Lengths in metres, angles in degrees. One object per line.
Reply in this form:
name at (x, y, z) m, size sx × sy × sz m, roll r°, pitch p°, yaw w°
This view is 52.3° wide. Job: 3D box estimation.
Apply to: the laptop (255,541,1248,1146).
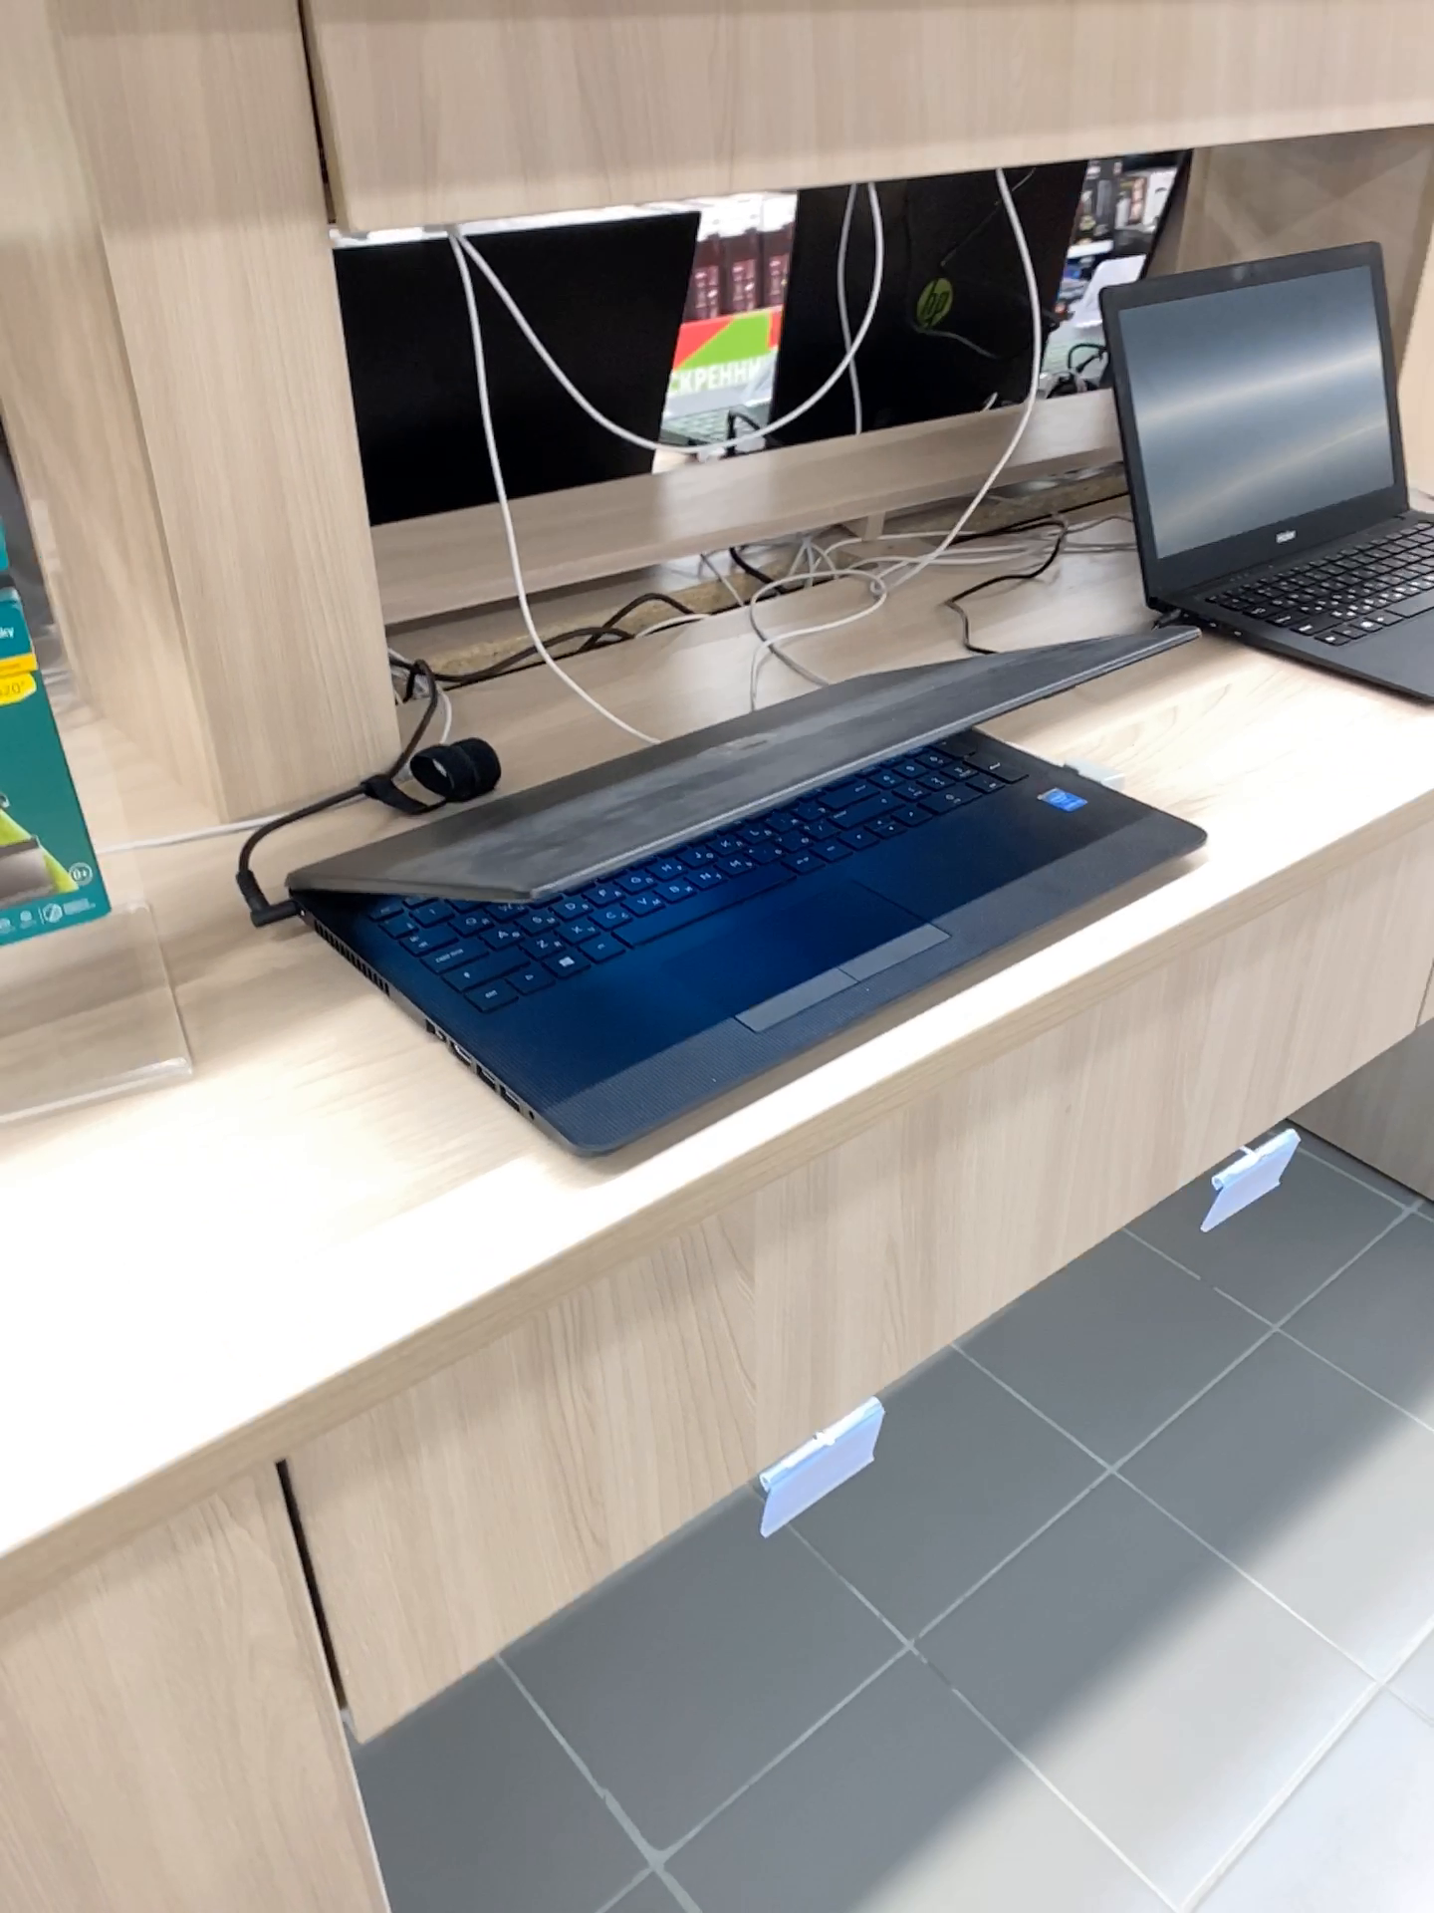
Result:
laptop at (0.022, -0.086, 0.682) m, size 0.373 × 0.093 × 0.252 m, roll -24°, pitch 39°, yaw -33°
